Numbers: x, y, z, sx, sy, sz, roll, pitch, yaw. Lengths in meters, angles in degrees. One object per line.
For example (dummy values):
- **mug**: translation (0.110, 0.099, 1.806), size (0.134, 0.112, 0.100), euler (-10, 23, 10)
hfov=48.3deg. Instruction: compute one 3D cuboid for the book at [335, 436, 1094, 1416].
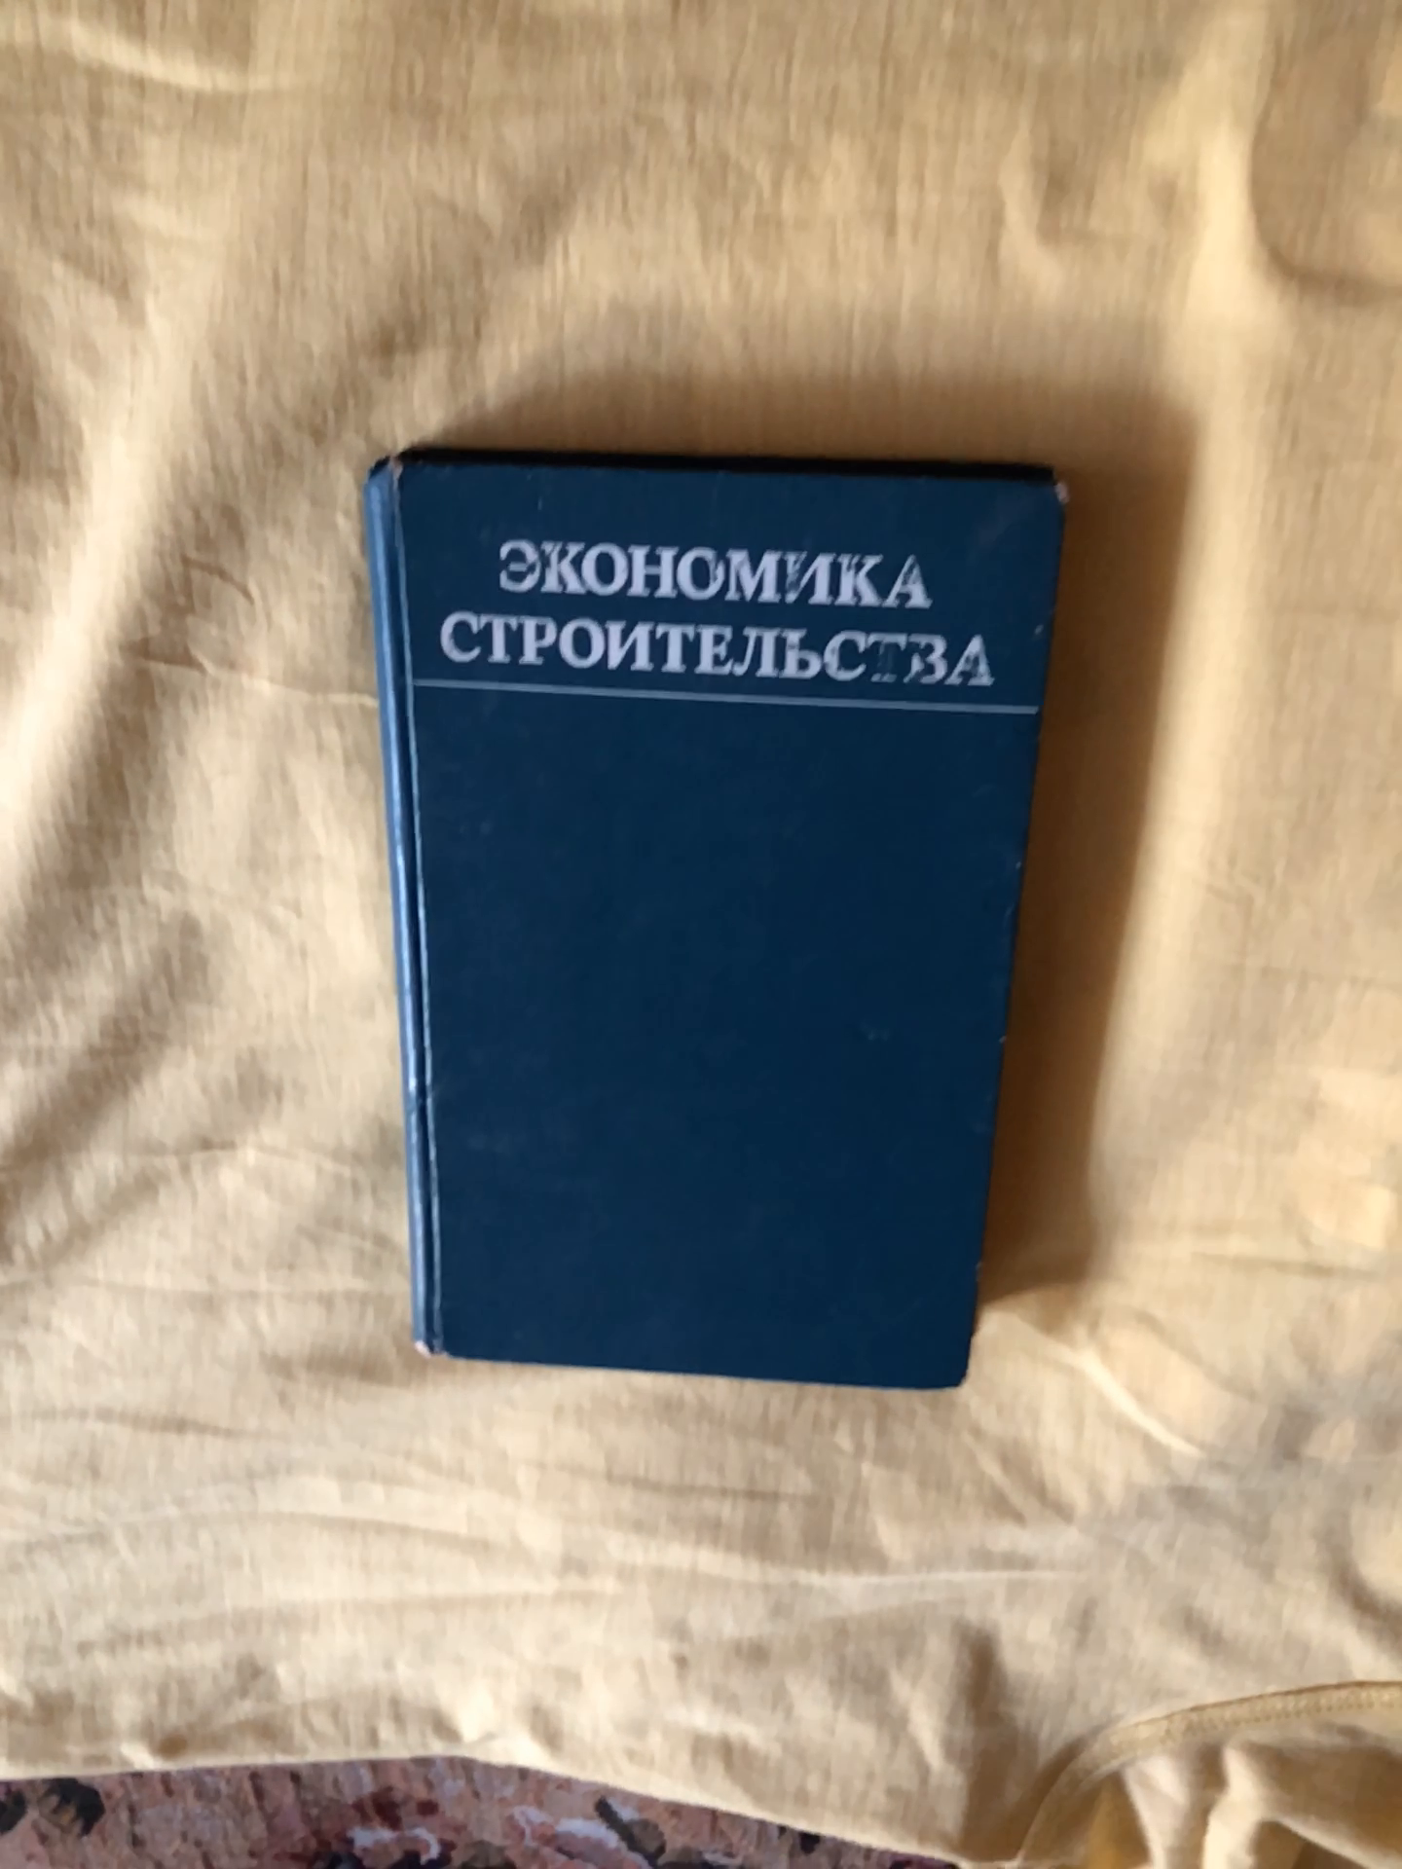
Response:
- **book**: translation (0.000, 0.006, 0.321), size (0.130, 0.030, 0.201), euler (2, 114, 2)
